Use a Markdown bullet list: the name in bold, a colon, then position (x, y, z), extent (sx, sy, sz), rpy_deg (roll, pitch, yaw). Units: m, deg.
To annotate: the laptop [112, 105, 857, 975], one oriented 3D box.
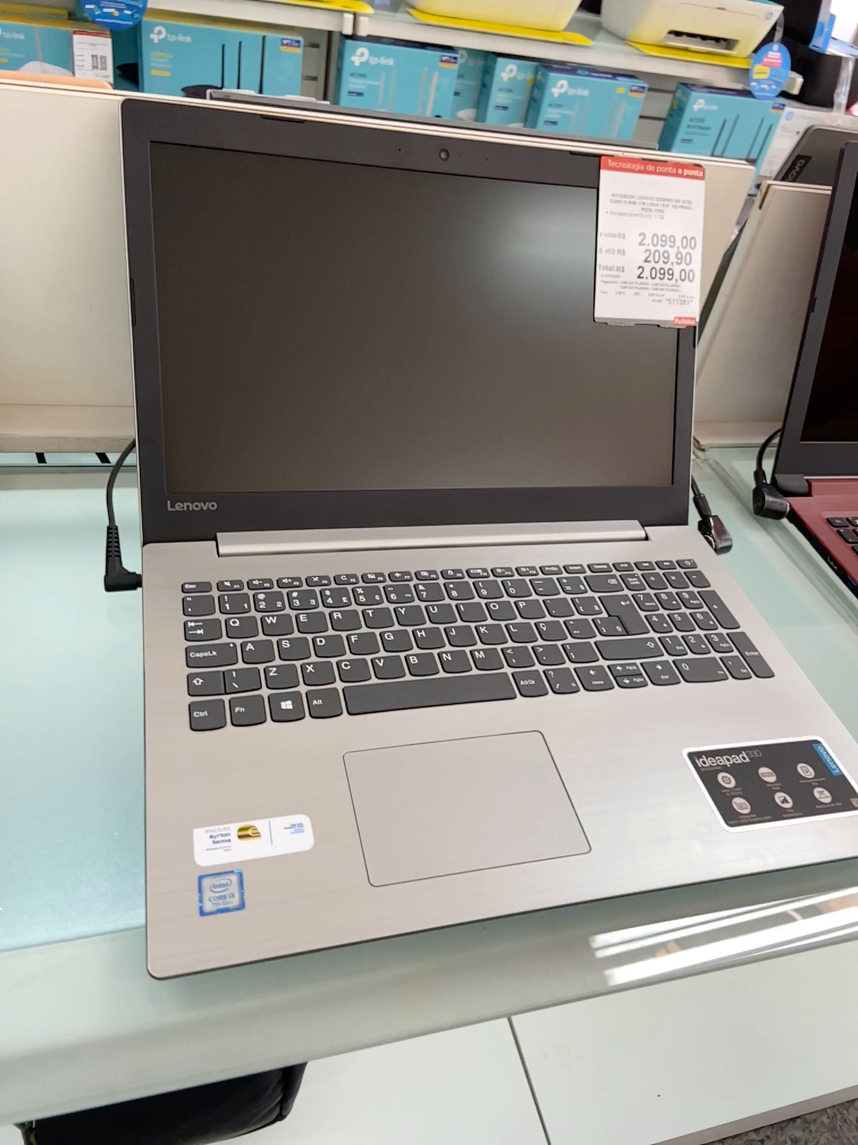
- **laptop**: position (0.040, -0.061, 0.462), extent (0.371, 0.194, 0.391), rpy_deg (-2, 42, -17)
